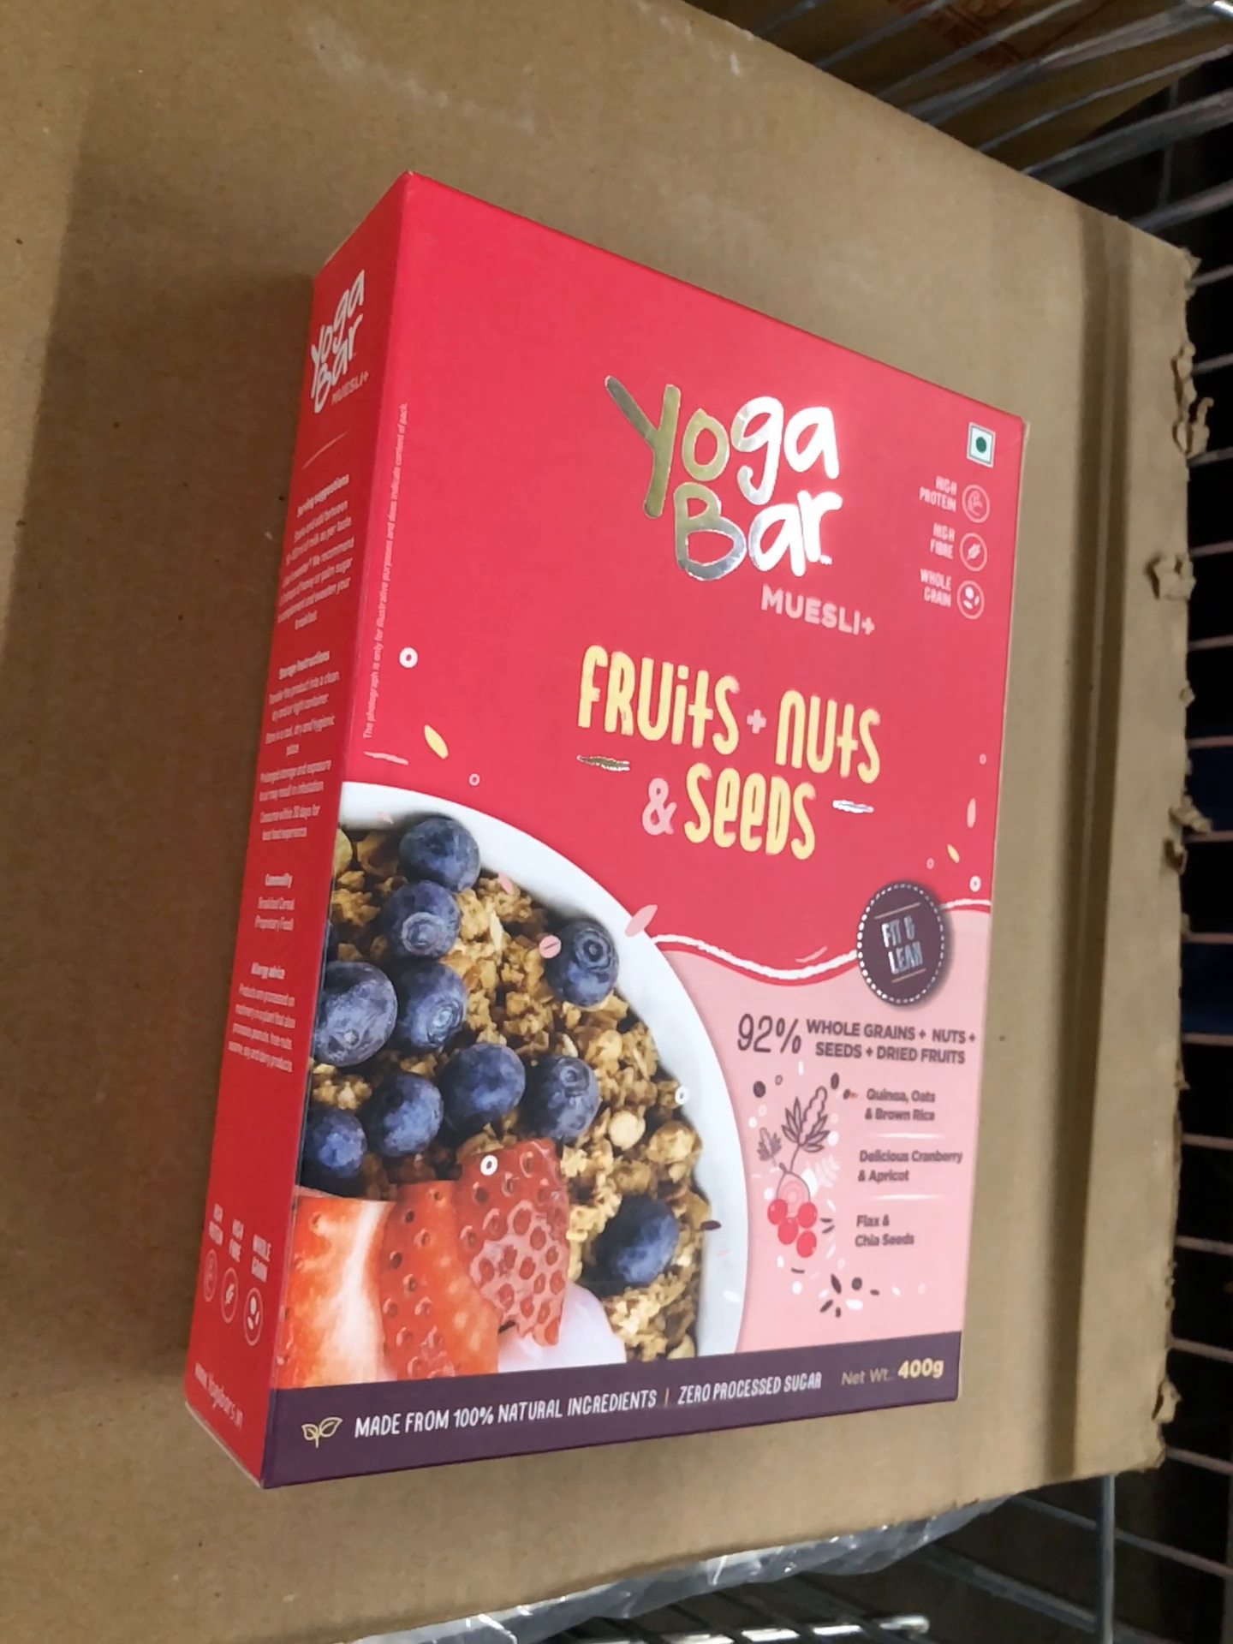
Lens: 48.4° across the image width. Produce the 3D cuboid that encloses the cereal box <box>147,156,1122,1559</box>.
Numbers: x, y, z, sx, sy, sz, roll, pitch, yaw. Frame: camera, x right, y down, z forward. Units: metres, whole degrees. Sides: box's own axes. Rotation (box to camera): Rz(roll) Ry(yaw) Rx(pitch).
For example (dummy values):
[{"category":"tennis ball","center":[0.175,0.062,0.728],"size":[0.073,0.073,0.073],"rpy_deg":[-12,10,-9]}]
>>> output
[{"category":"cereal box","center":[0.014,0.012,0.275],"size":[0.170,0.060,0.210],"rpy_deg":[9,85,-33]}]
